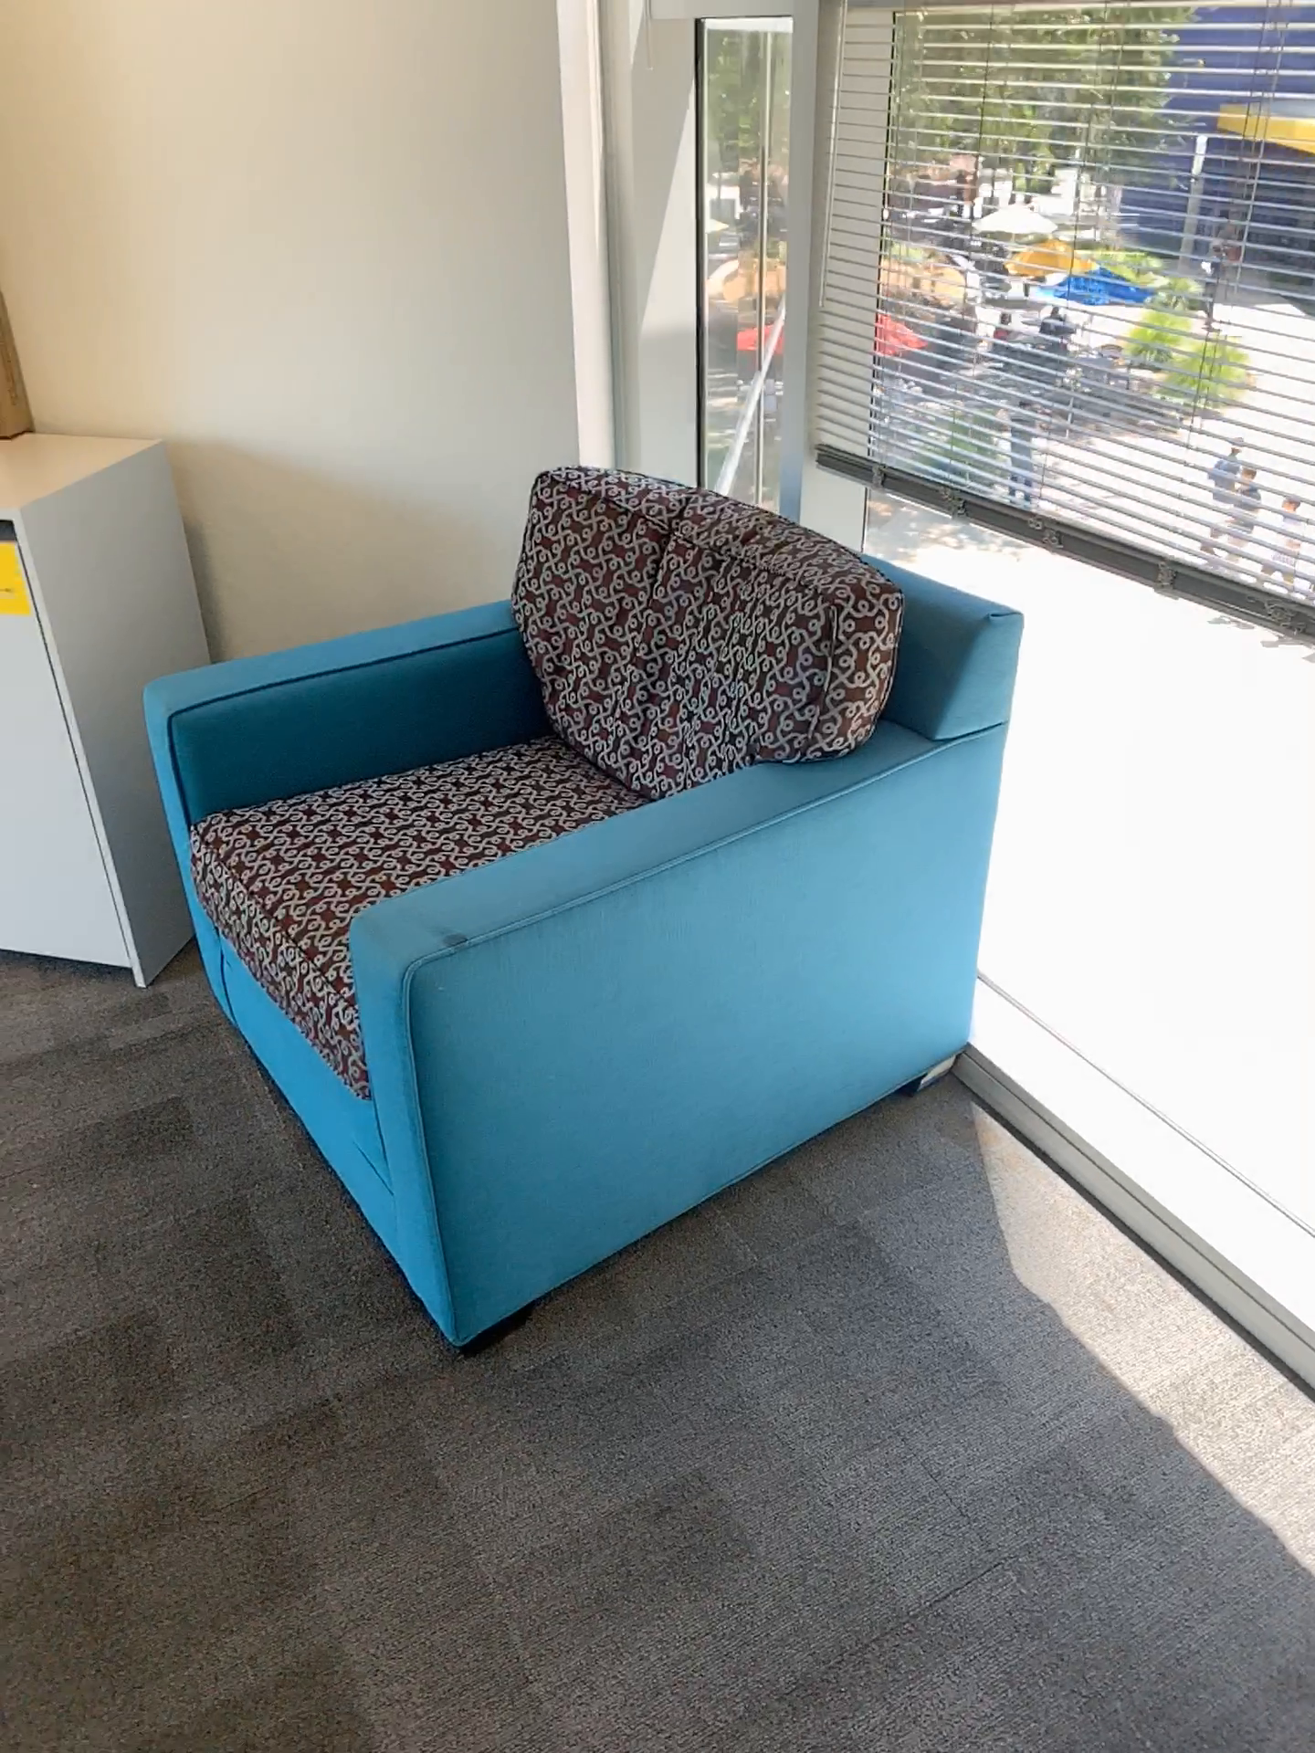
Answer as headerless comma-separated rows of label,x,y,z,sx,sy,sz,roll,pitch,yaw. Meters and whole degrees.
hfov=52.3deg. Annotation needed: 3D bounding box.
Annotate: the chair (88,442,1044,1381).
chair,-0.153,-0.067,1.978,0.911,0.805,0.935,-21,36,-29
